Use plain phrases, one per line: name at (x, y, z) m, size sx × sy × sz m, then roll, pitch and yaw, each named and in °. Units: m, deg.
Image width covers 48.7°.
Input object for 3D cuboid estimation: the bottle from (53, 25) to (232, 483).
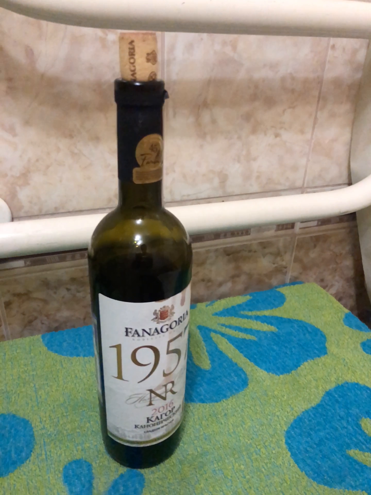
bottle at (-0.033, 0.024, 0.293) m, size 0.080 × 0.318 × 0.080 m, roll 2°, pitch 29°, yaw -1°
